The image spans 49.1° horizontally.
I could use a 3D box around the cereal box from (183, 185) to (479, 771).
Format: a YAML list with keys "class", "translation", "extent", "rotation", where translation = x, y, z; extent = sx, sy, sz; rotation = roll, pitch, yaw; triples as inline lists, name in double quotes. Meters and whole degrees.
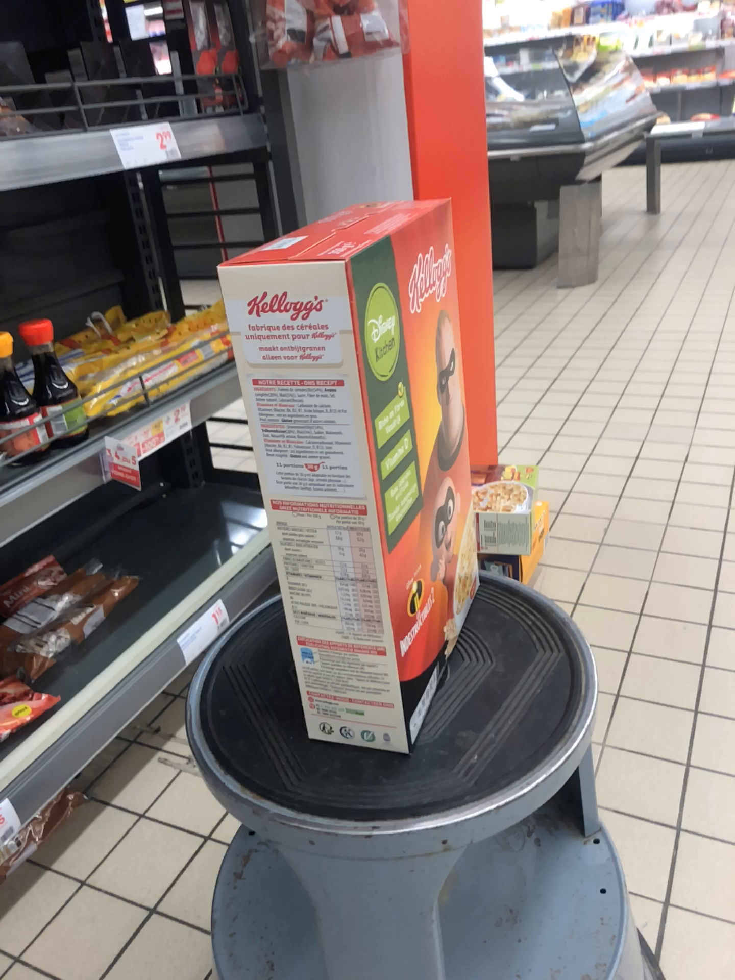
- class: "cereal box"
  translation: [0.001, -0.017, 0.515]
  extent: [0.080, 0.308, 0.201]
  rotation: [3, 27, 21]
